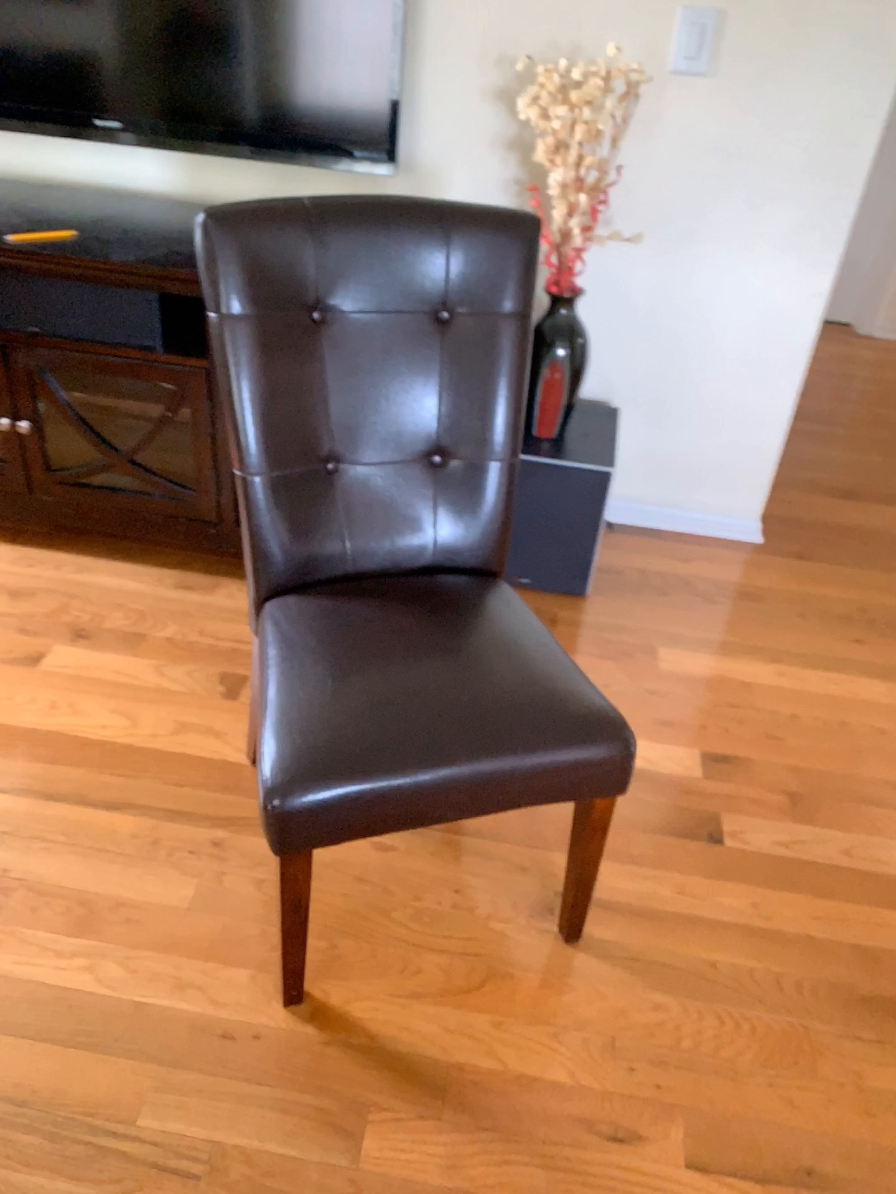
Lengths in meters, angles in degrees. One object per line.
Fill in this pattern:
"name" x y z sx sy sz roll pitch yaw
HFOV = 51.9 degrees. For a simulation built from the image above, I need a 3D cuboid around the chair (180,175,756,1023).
"chair" -0.080 -0.021 1.369 0.498 0.968 0.707 -6 37 -16
